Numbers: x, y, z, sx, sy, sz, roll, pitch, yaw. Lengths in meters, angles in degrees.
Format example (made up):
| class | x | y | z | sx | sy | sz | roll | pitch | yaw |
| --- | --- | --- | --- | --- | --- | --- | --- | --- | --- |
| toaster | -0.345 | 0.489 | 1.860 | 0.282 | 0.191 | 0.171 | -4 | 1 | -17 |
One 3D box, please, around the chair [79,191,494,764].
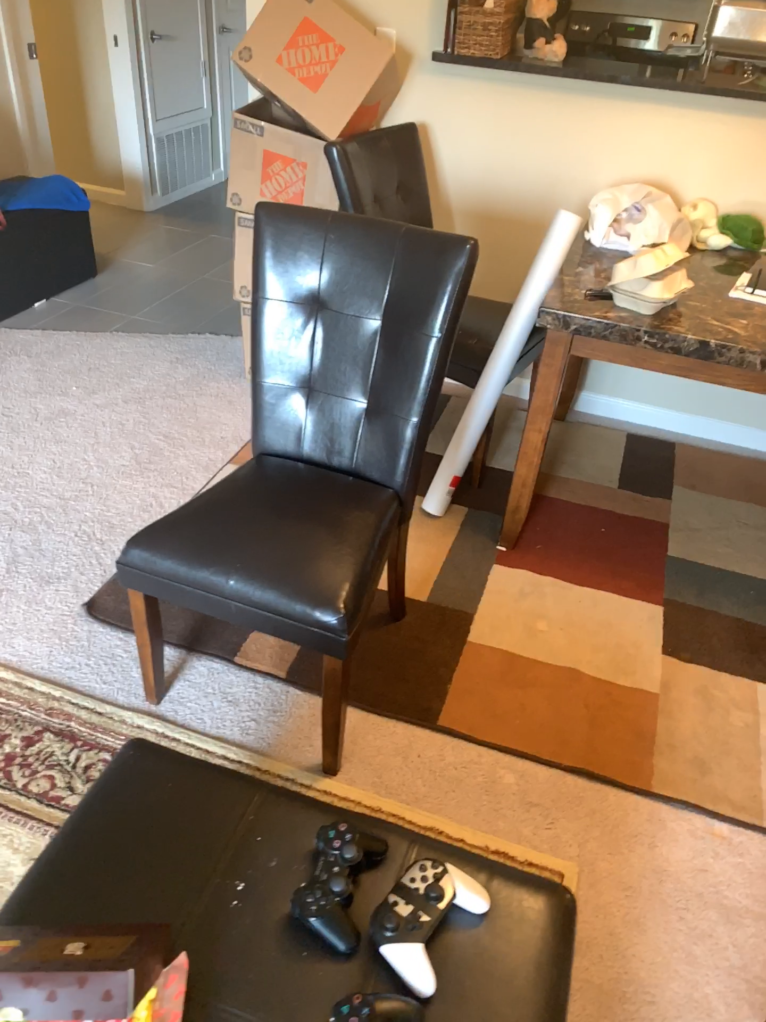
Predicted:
| class | x | y | z | sx | sy | sz | roll | pitch | yaw |
| --- | --- | --- | --- | --- | --- | --- | --- | --- | --- |
| chair | -0.153 | -0.089 | 1.647 | 0.491 | 0.914 | 0.653 | 16 | 37 | 15 |
